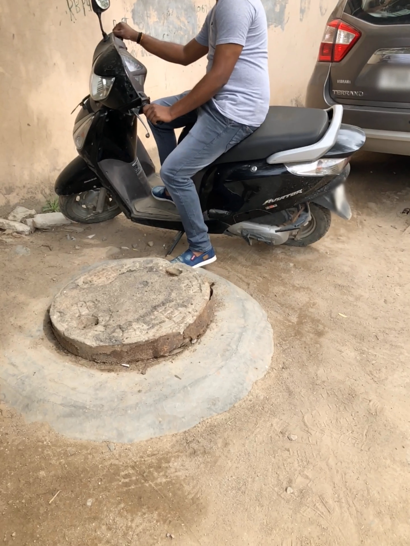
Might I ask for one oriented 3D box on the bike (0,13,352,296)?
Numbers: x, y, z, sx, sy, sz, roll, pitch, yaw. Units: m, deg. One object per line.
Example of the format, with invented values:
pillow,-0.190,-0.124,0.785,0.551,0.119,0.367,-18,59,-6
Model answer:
bike,-0.161,-0.645,2.364,1.650,1.228,0.656,4,29,10
